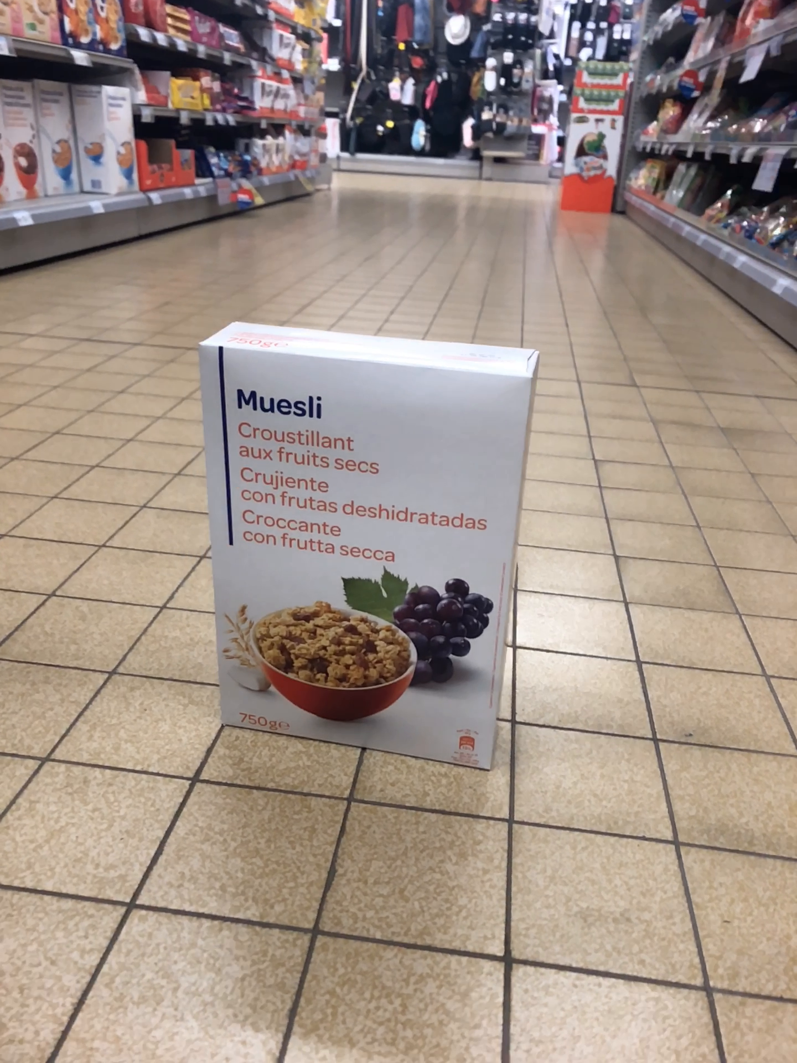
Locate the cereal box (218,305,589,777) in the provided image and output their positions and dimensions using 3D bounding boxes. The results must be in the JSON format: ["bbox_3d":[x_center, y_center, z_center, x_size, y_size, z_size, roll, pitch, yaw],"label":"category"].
[{"bbox_3d":[-0.002,0.009,0.546,0.200,0.268,0.060,8,25,10],"label":"cereal box"}]
